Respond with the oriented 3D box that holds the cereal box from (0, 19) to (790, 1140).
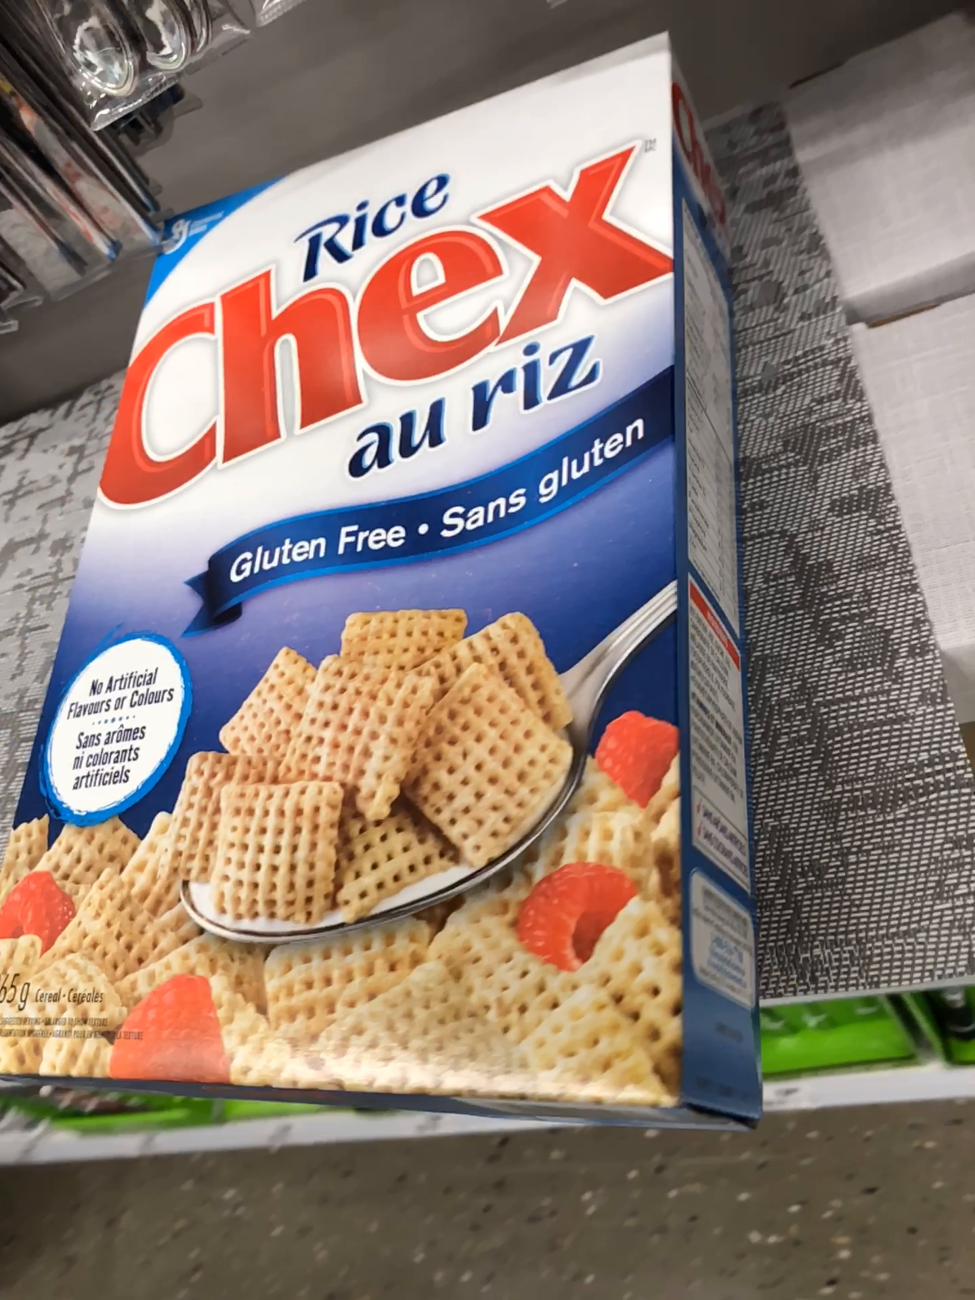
[{"bbox_3d":[-0.030,-0.026,0.328,0.211,0.070,0.300,-7,62,23],"label":"cereal box"}]
